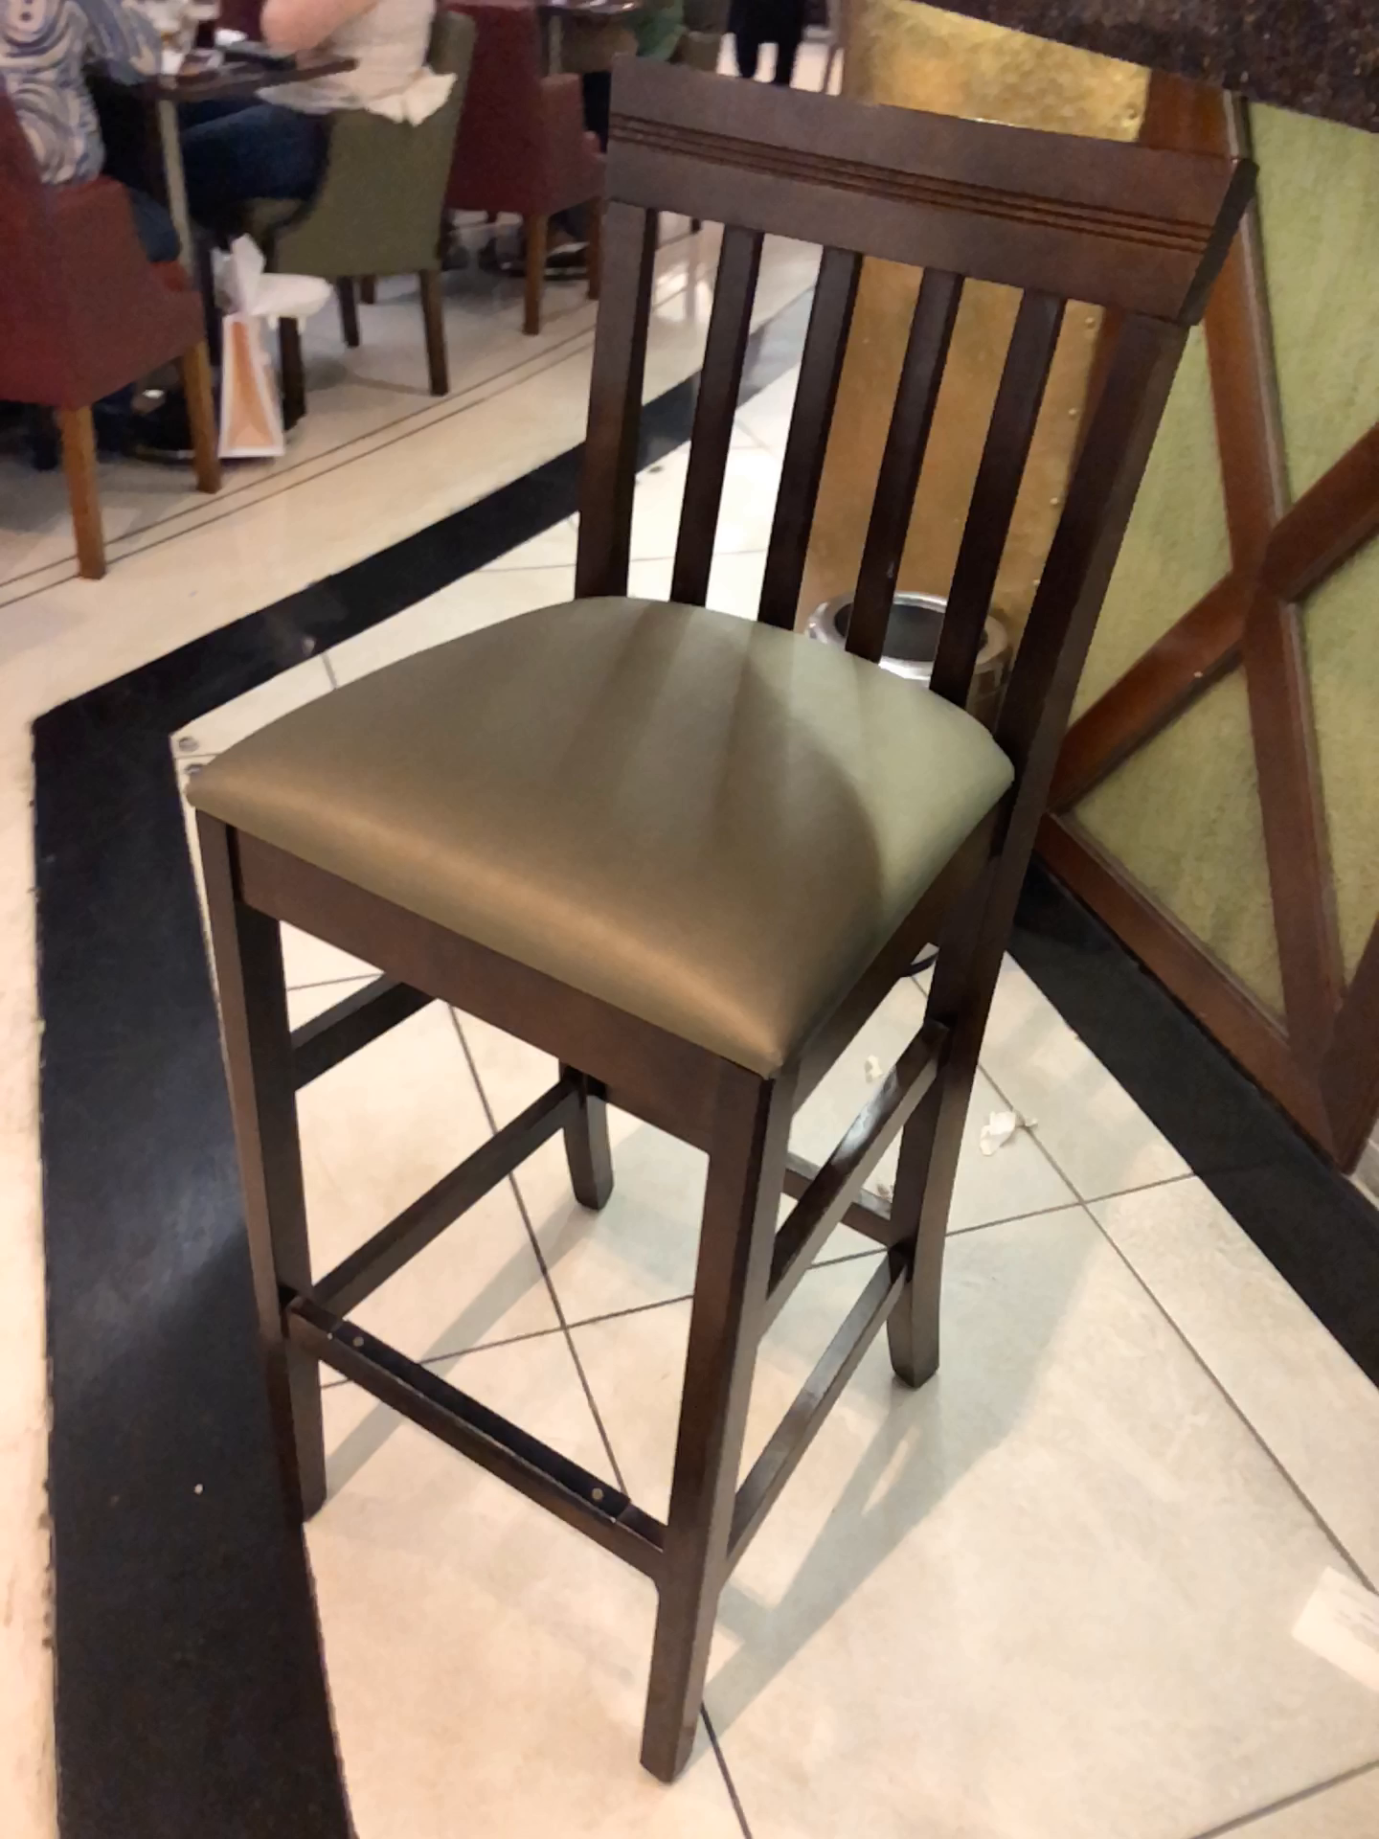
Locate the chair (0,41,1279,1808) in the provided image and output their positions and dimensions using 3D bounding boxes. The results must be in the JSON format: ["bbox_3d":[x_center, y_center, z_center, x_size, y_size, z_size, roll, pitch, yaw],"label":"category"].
[{"bbox_3d":[-0.032,0.020,1.057,0.461,1.032,0.493,23,39,24],"label":"chair"}]
